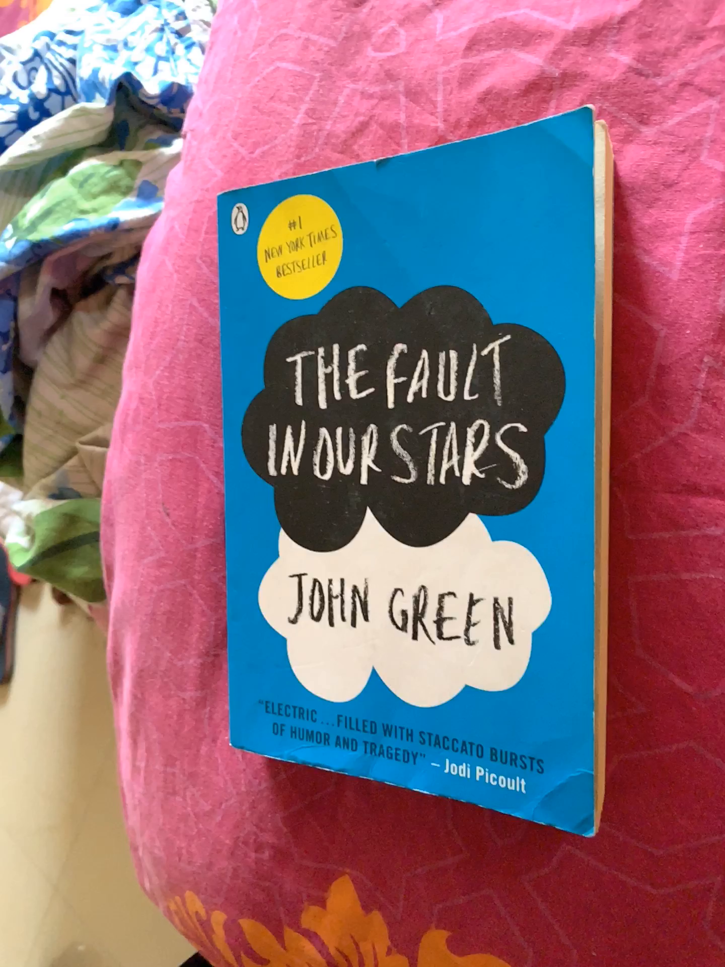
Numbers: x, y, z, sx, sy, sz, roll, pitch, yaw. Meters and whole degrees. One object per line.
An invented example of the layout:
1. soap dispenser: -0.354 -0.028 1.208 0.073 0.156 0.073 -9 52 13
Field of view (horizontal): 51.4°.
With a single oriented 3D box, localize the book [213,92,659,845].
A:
1. book: 0.016 -0.004 0.224 0.130 0.030 0.179 0 89 30
